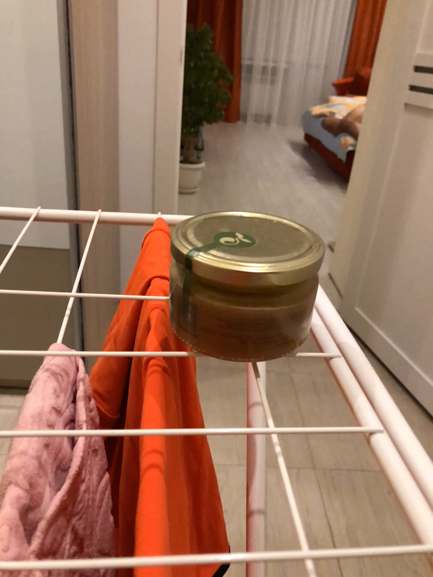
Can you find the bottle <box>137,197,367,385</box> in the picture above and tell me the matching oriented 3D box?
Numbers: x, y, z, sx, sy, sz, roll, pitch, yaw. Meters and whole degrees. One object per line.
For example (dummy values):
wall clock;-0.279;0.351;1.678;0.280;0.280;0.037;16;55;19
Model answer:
bottle;0.015;-0.007;0.275;0.090;0.060;0.090;4;27;-2
